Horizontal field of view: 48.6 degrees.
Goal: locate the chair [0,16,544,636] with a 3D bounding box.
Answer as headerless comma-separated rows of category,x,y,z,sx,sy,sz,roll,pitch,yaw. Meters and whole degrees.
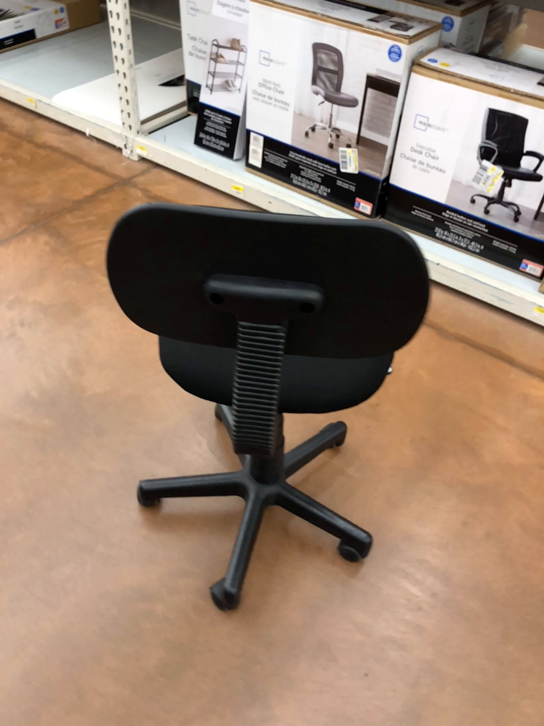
chair,-0.044,-0.058,1.084,0.670,0.797,0.662,7,43,3
